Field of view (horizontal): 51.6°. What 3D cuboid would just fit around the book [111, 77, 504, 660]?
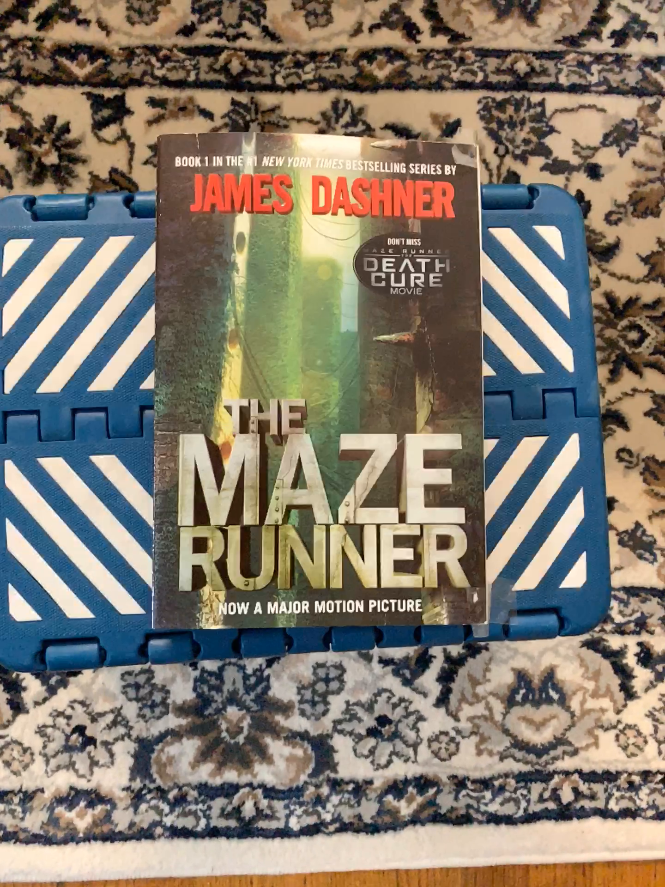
[{"bbox_3d":[-0.009,-0.032,0.287,0.150,0.030,0.230,0,85,-3],"label":"book"}]
